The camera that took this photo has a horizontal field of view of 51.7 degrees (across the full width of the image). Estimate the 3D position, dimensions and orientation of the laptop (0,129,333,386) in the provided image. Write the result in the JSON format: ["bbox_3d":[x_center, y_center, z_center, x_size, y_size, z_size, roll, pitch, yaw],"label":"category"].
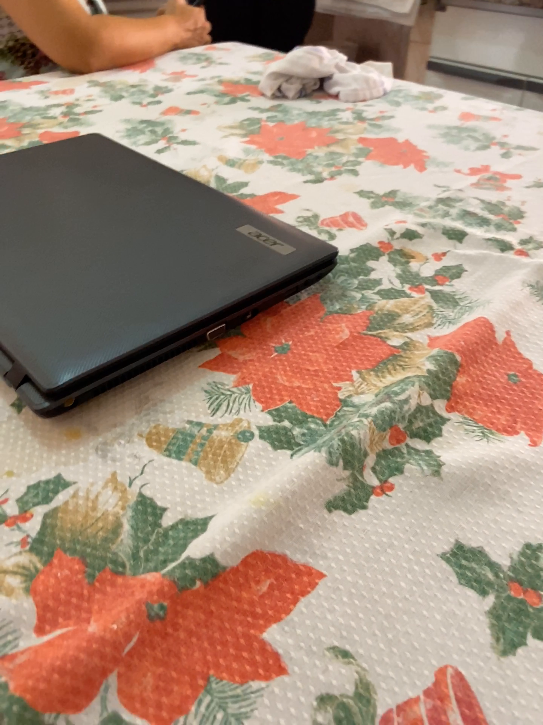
[{"bbox_3d":[-0.154,-0.121,0.456,0.223,0.001,0.351,-31,49,-31],"label":"laptop"}]
